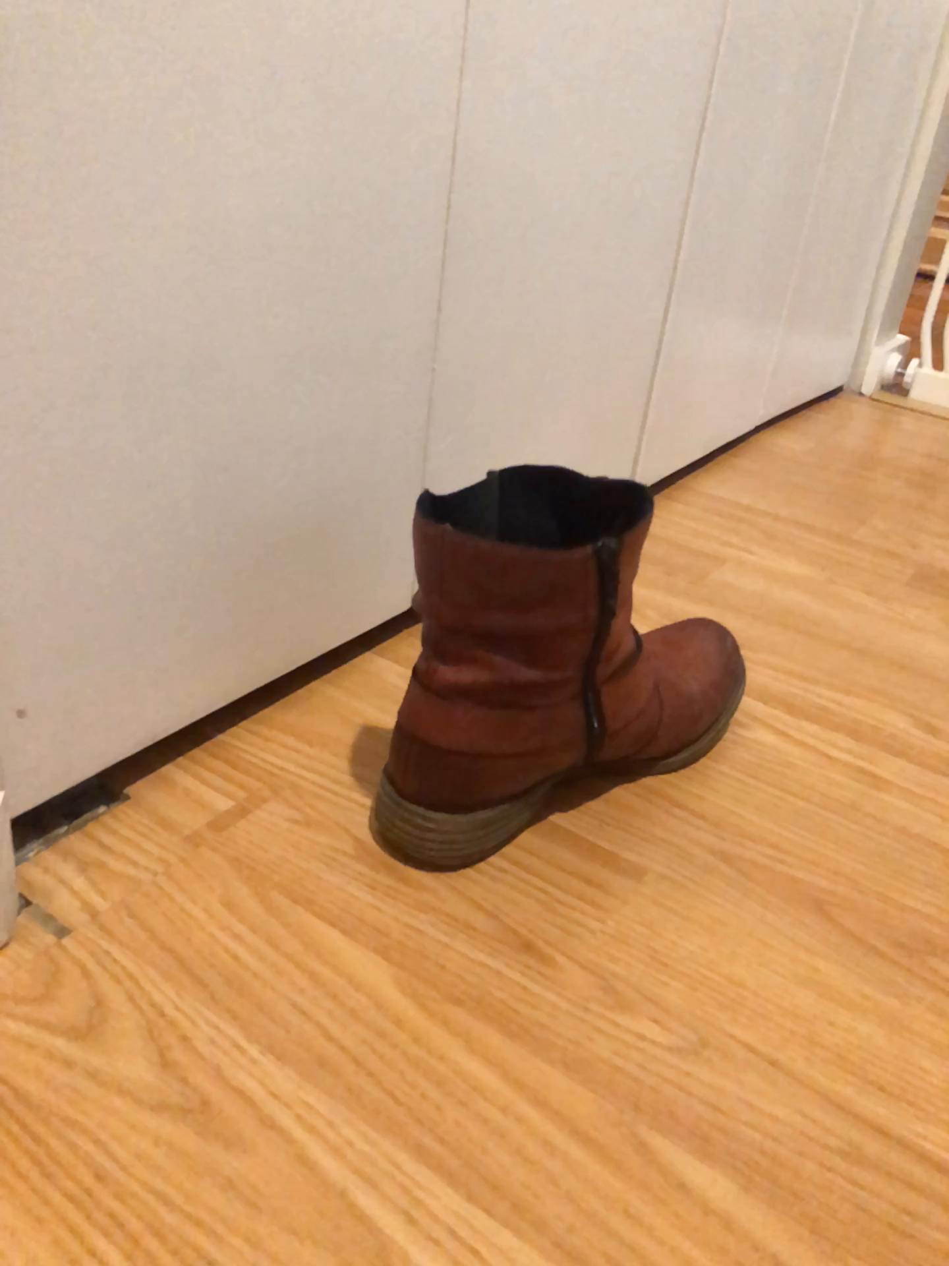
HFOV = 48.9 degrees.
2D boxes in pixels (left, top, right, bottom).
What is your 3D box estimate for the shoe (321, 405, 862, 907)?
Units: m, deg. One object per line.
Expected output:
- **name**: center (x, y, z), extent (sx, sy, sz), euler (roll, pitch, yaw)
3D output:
- **shoe**: center (0.065, -0.007, 0.541), extent (0.271, 0.169, 0.100), euler (-18, 37, -40)
